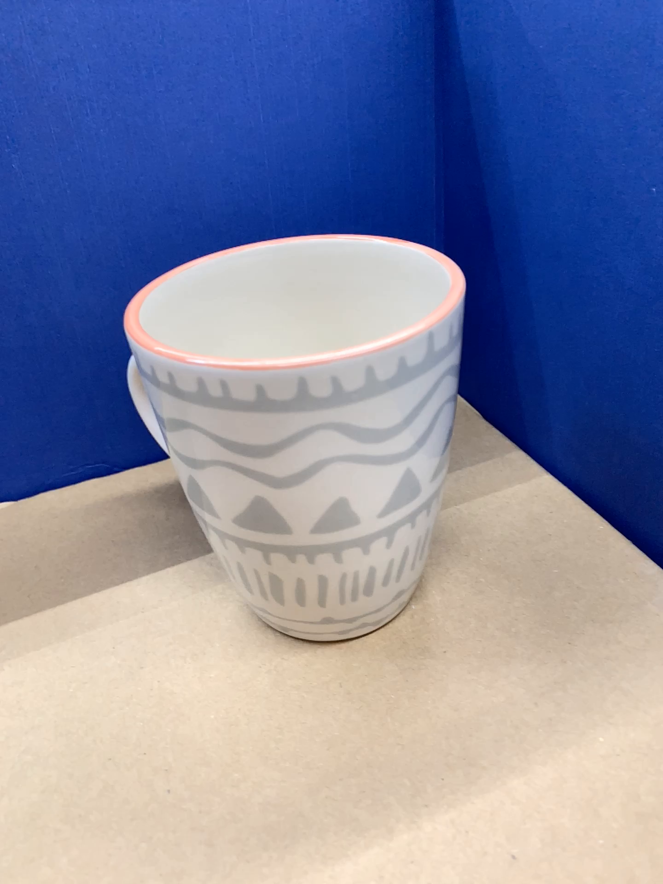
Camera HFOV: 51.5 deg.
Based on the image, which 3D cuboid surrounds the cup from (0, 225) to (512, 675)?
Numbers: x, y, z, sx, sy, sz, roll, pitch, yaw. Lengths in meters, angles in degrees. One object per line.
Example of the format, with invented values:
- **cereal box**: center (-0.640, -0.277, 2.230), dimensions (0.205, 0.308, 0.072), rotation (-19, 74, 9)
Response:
- **cup**: center (-0.018, -0.011, 0.213), dimensions (0.119, 0.082, 0.097), rotation (11, 34, 24)
